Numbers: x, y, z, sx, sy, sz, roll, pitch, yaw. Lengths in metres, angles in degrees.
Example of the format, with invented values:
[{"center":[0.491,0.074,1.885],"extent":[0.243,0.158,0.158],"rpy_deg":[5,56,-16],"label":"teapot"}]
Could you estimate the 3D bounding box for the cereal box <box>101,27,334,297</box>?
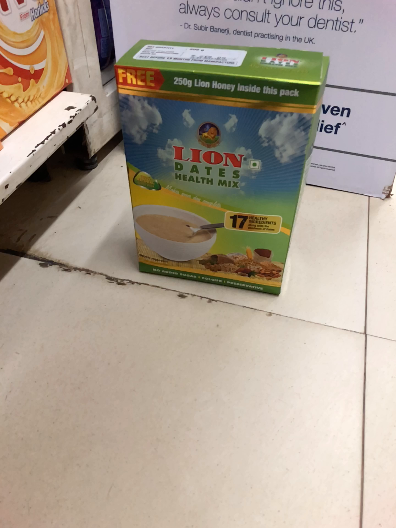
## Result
[{"center":[0.016,-0.074,0.344],"extent":[0.140,0.179,0.071],"rpy_deg":[10,43,10],"label":"cereal box"}]
